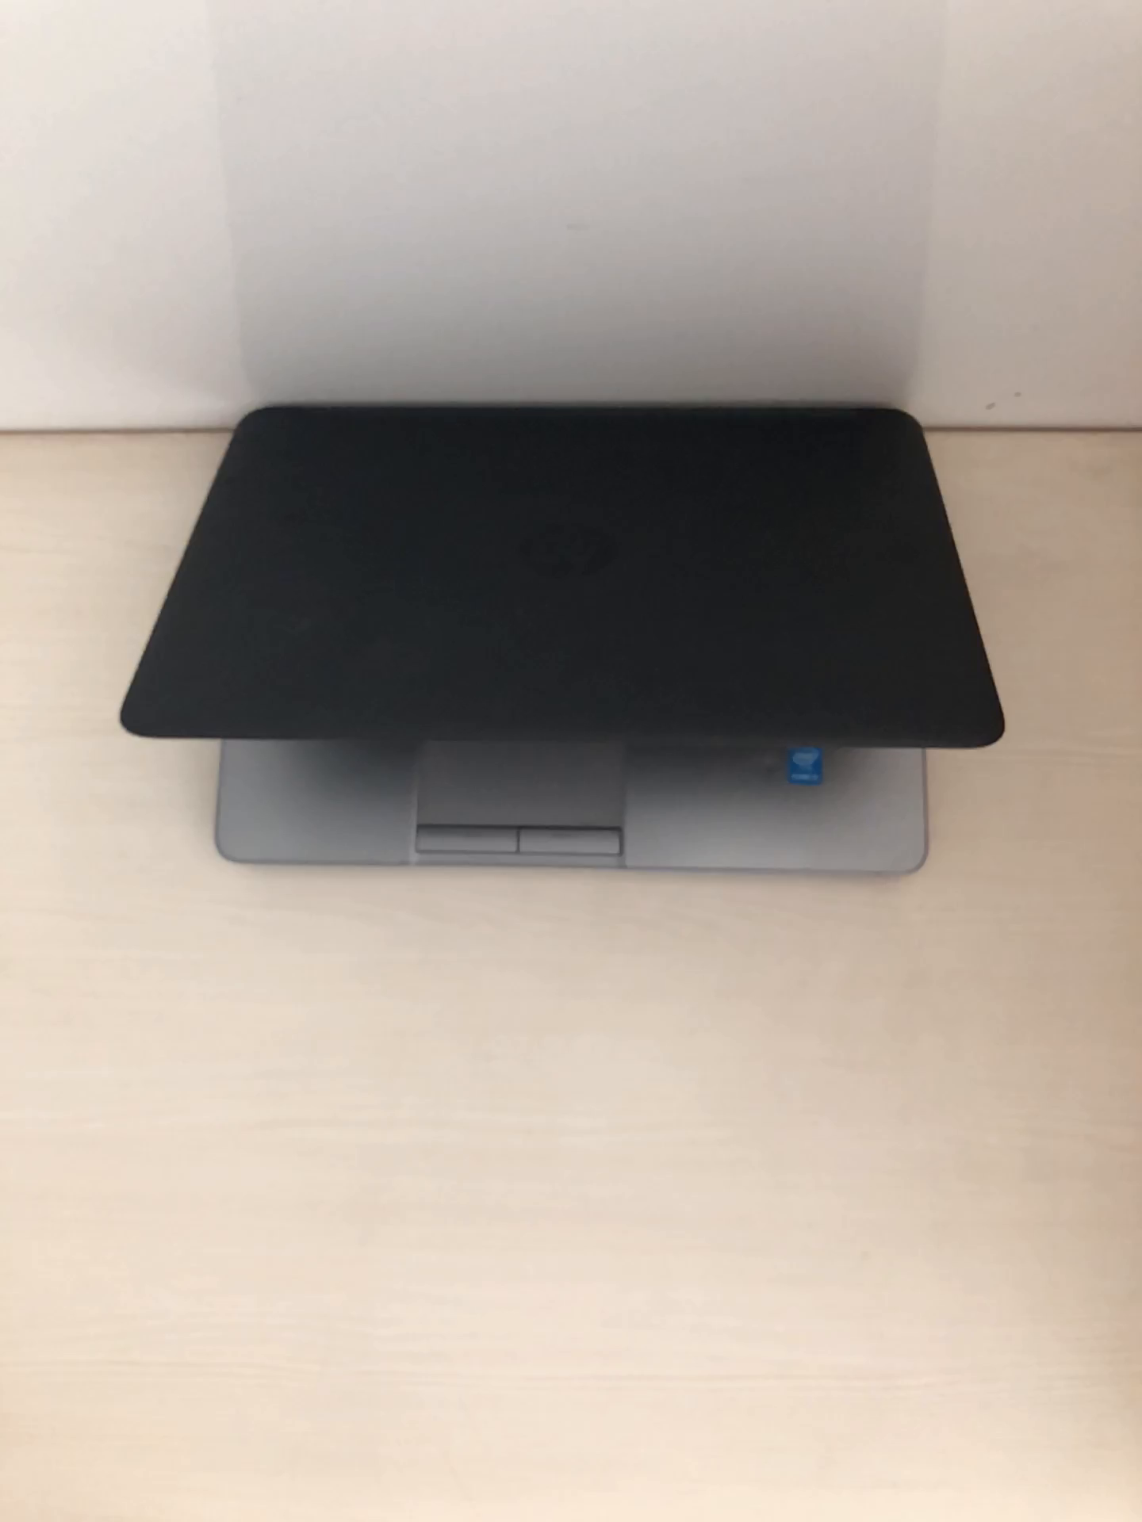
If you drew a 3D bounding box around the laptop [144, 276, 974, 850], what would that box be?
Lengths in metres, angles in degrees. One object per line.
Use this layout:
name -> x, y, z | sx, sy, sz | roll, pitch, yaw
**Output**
laptop -> -0.001, -0.080, 0.565 | 0.319, 0.119, 0.220 | 0, 79, 1
